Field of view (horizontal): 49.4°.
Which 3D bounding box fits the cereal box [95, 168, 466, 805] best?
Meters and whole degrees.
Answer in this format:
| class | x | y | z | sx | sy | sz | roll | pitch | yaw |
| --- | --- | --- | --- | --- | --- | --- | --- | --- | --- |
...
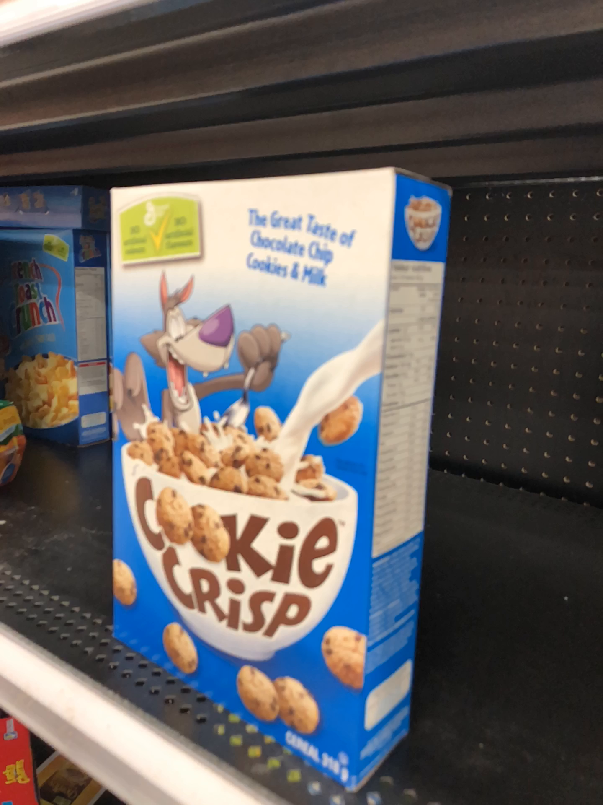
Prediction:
| class | x | y | z | sx | sy | sz | roll | pitch | yaw |
| --- | --- | --- | --- | --- | --- | --- | --- | --- | --- |
| cereal box | -0.027 | 0.029 | 0.360 | 0.200 | 0.279 | 0.060 | 11 | 13 | 39 |
